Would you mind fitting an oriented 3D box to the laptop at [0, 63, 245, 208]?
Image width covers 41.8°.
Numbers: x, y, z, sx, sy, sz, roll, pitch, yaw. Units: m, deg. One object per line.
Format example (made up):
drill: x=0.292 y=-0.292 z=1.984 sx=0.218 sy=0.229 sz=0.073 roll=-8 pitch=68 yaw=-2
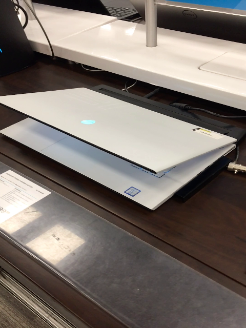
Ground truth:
laptop: x=-0.020 y=-0.075 z=0.588 sx=0.350 sy=0.086 sz=0.220 roll=28 pitch=50 yaw=32
